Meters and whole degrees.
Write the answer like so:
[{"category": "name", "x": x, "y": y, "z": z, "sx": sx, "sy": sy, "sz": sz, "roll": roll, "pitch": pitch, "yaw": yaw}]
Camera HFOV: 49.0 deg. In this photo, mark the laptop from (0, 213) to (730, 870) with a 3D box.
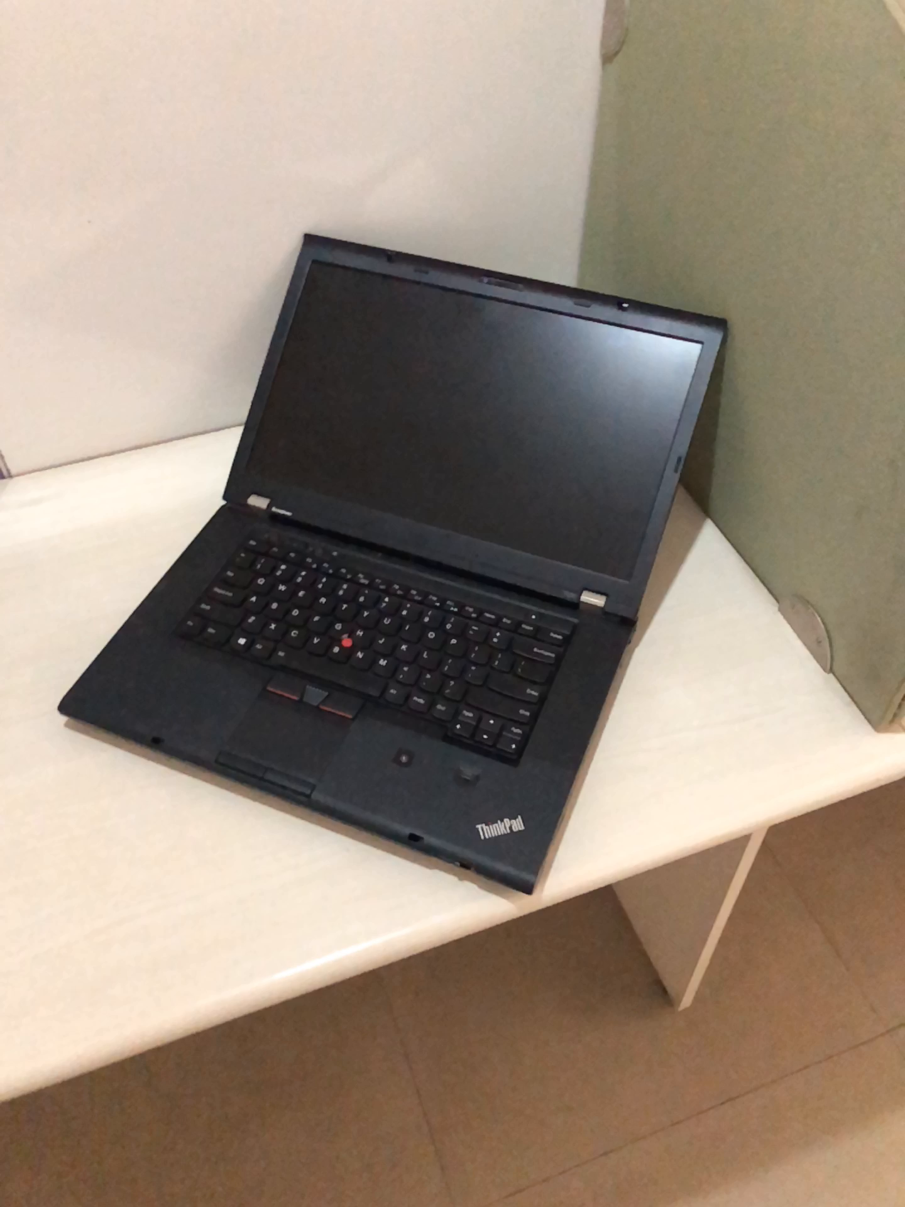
[{"category": "laptop", "x": -0.040, "y": -0.082, "z": 0.727, "sx": 0.353, "sy": 0.142, "sz": 0.413, "roll": 17, "pitch": 55, "yaw": 17}]
